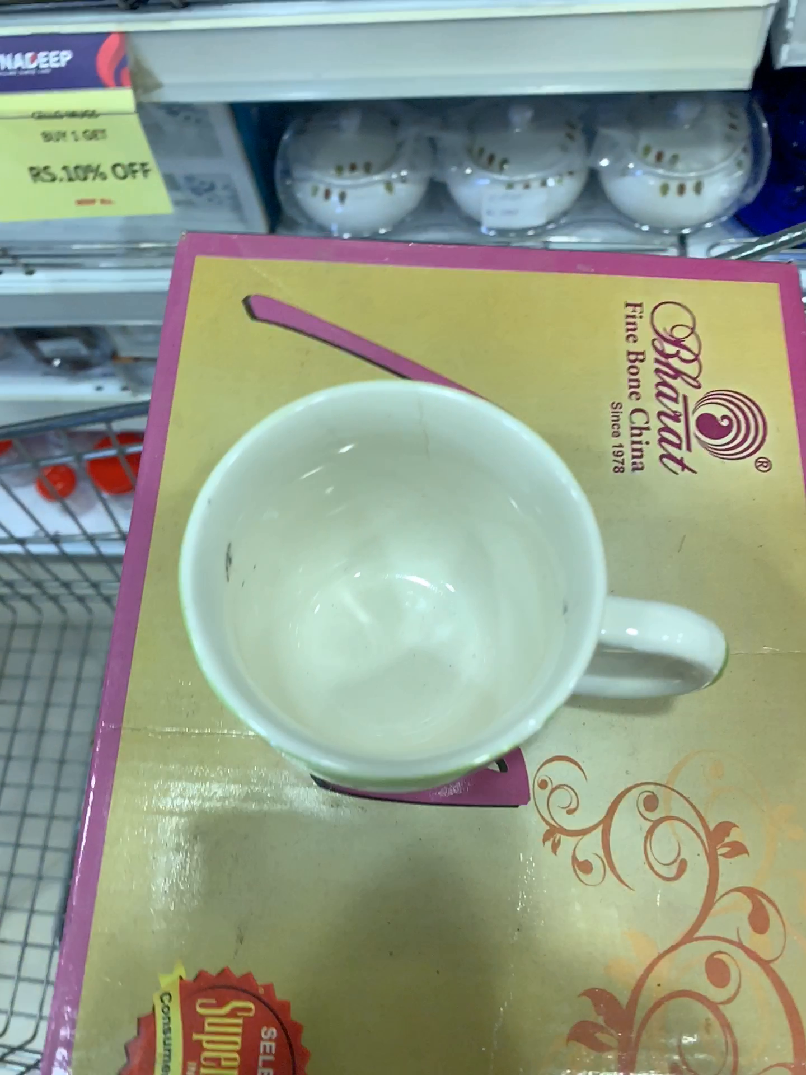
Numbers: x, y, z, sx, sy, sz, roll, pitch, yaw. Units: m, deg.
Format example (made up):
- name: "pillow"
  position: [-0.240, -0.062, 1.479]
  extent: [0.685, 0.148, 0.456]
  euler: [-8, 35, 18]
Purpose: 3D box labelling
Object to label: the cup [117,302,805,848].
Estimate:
- name: "cup"
  position: [0.015, 0.010, 0.173]
  extent: [0.110, 0.060, 0.080]
  euler: [9, 66, 4]
